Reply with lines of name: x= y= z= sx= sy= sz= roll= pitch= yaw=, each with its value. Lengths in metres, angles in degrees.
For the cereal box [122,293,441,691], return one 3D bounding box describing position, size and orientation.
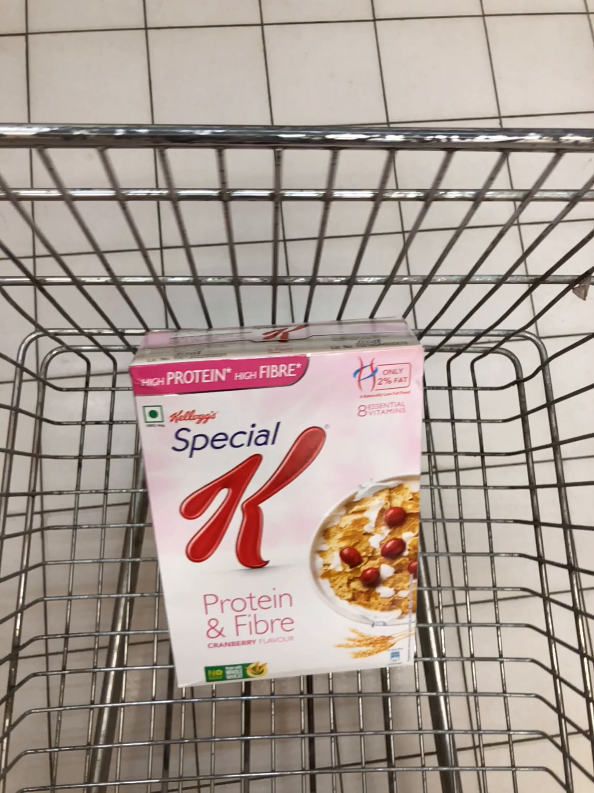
cereal box: x=-0.009 y=0.073 z=0.494 sx=0.190 sy=0.100 sz=0.269 roll=-4 pitch=115 yaw=-4
